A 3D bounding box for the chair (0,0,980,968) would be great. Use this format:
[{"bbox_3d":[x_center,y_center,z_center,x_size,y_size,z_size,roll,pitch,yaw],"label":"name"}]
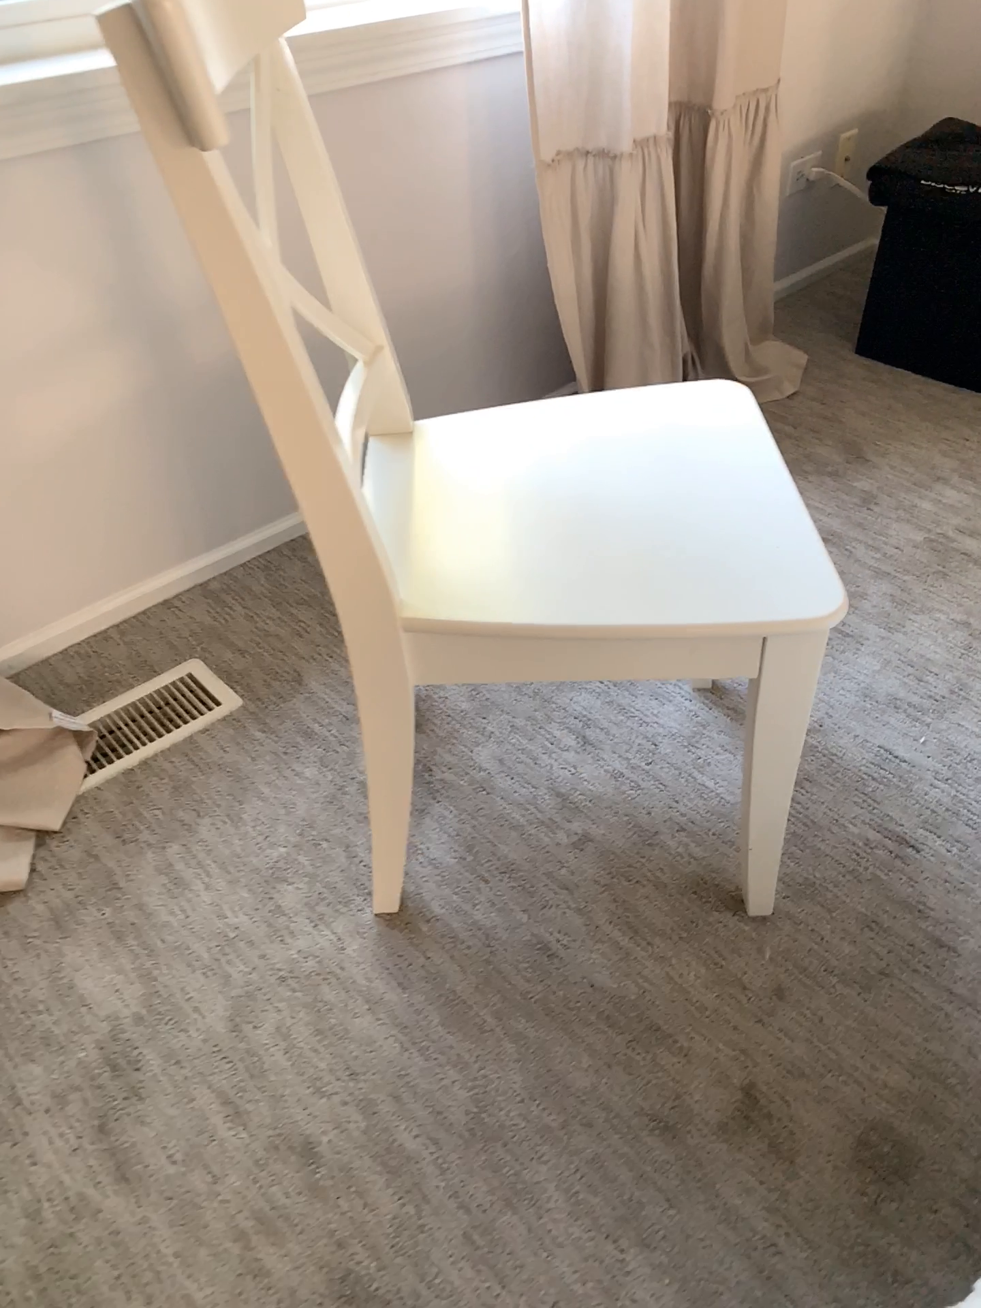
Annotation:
[{"bbox_3d":[0.045,-0.218,0.907,0.480,0.855,0.573,-4,41,1],"label":"chair"}]
